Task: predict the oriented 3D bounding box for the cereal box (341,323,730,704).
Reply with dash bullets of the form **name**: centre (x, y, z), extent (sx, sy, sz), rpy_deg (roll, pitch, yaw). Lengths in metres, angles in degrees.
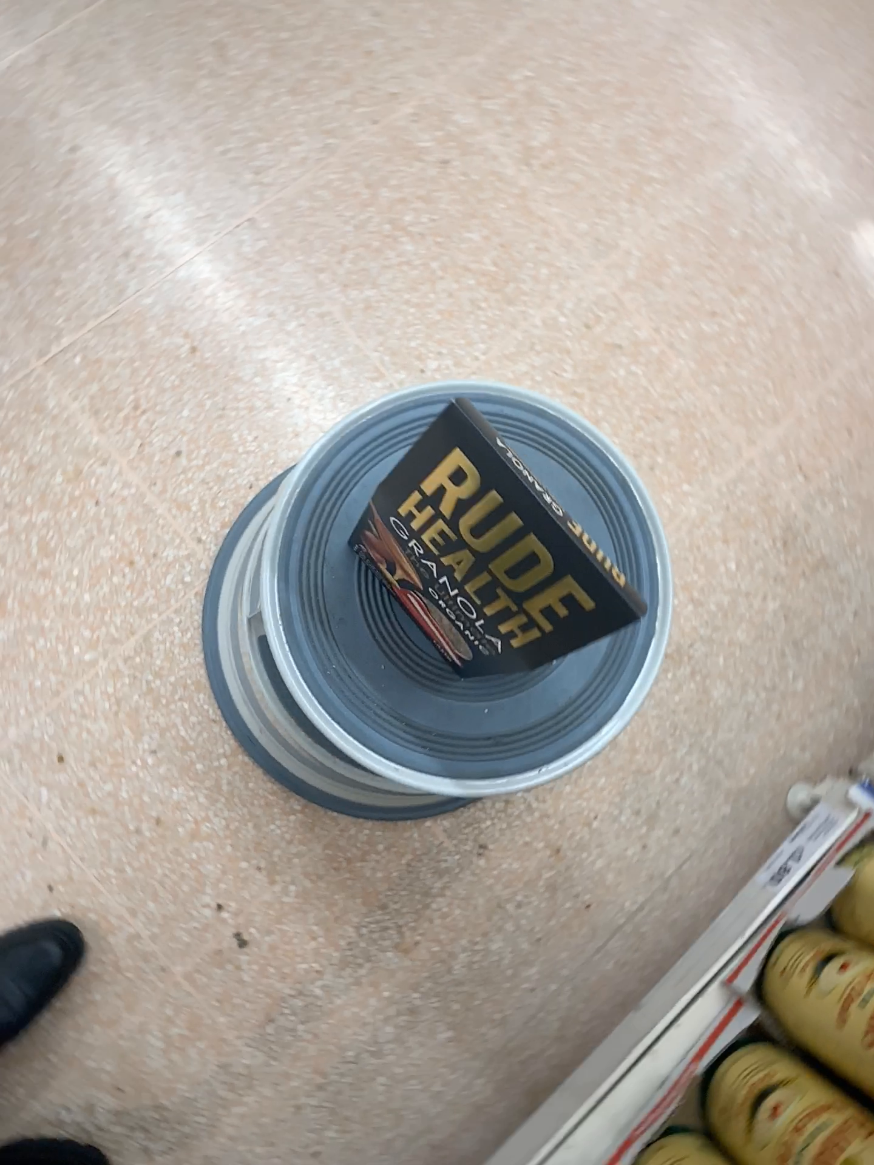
- **cereal box**: centre (0.027, -0.015, 0.483), extent (0.070, 0.260, 0.140), rpy_deg (-40, 91, -11)
